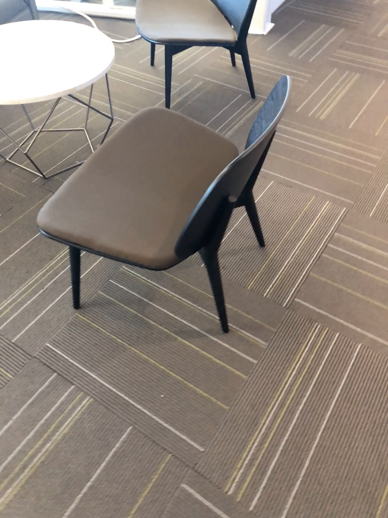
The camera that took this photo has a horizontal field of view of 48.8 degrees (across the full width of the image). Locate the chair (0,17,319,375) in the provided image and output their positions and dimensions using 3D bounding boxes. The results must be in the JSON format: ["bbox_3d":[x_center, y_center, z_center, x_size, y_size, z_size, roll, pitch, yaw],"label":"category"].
[{"bbox_3d":[-0.107,-0.211,1.373,0.741,0.737,0.672,15,51,14],"label":"chair"}]
